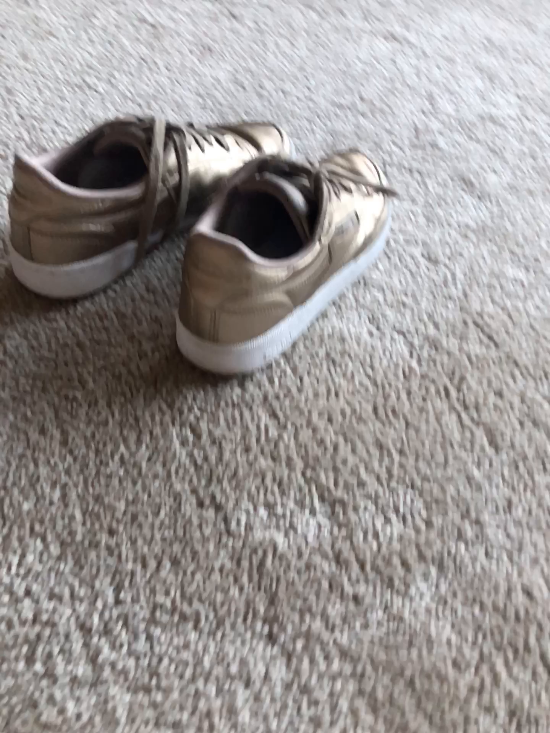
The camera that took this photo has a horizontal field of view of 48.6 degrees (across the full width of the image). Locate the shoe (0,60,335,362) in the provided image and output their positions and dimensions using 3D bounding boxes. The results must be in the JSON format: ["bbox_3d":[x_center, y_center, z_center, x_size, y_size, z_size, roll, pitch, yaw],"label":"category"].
[{"bbox_3d":[-0.089,-0.131,0.442,0.110,0.070,0.281,36,54,20],"label":"shoe"}]

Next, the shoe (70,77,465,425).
[{"bbox_3d":[0.012,-0.099,0.412,0.110,0.070,0.281,31,52,17],"label":"shoe"}]
